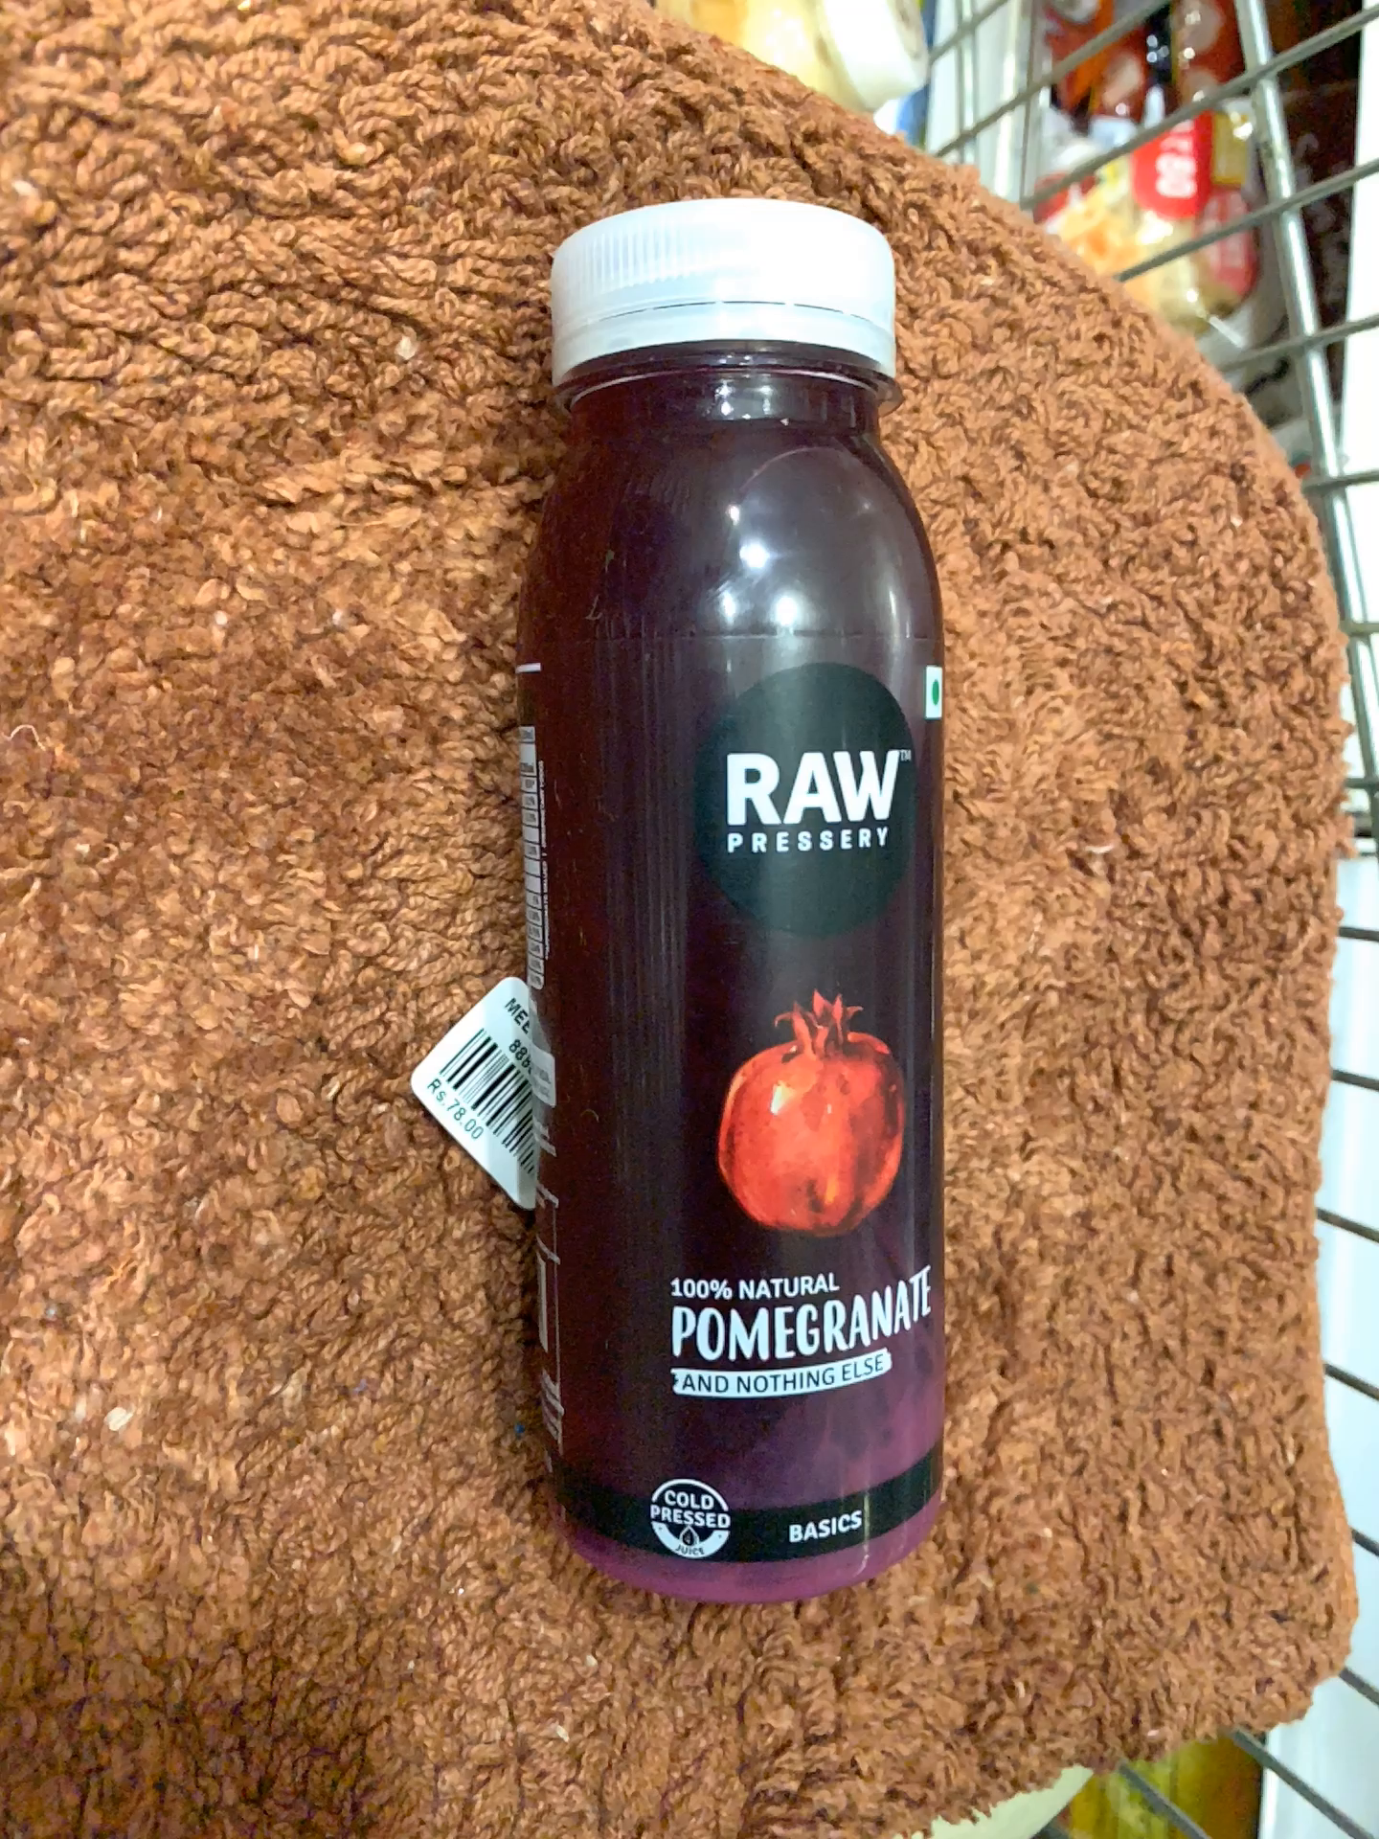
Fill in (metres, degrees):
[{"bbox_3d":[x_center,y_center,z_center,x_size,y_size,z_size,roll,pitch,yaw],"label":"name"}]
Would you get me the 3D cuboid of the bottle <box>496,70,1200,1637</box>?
[{"bbox_3d":[0.012,-0.003,0.155,0.050,0.040,0.140,-5,106,-30],"label":"bottle"}]
